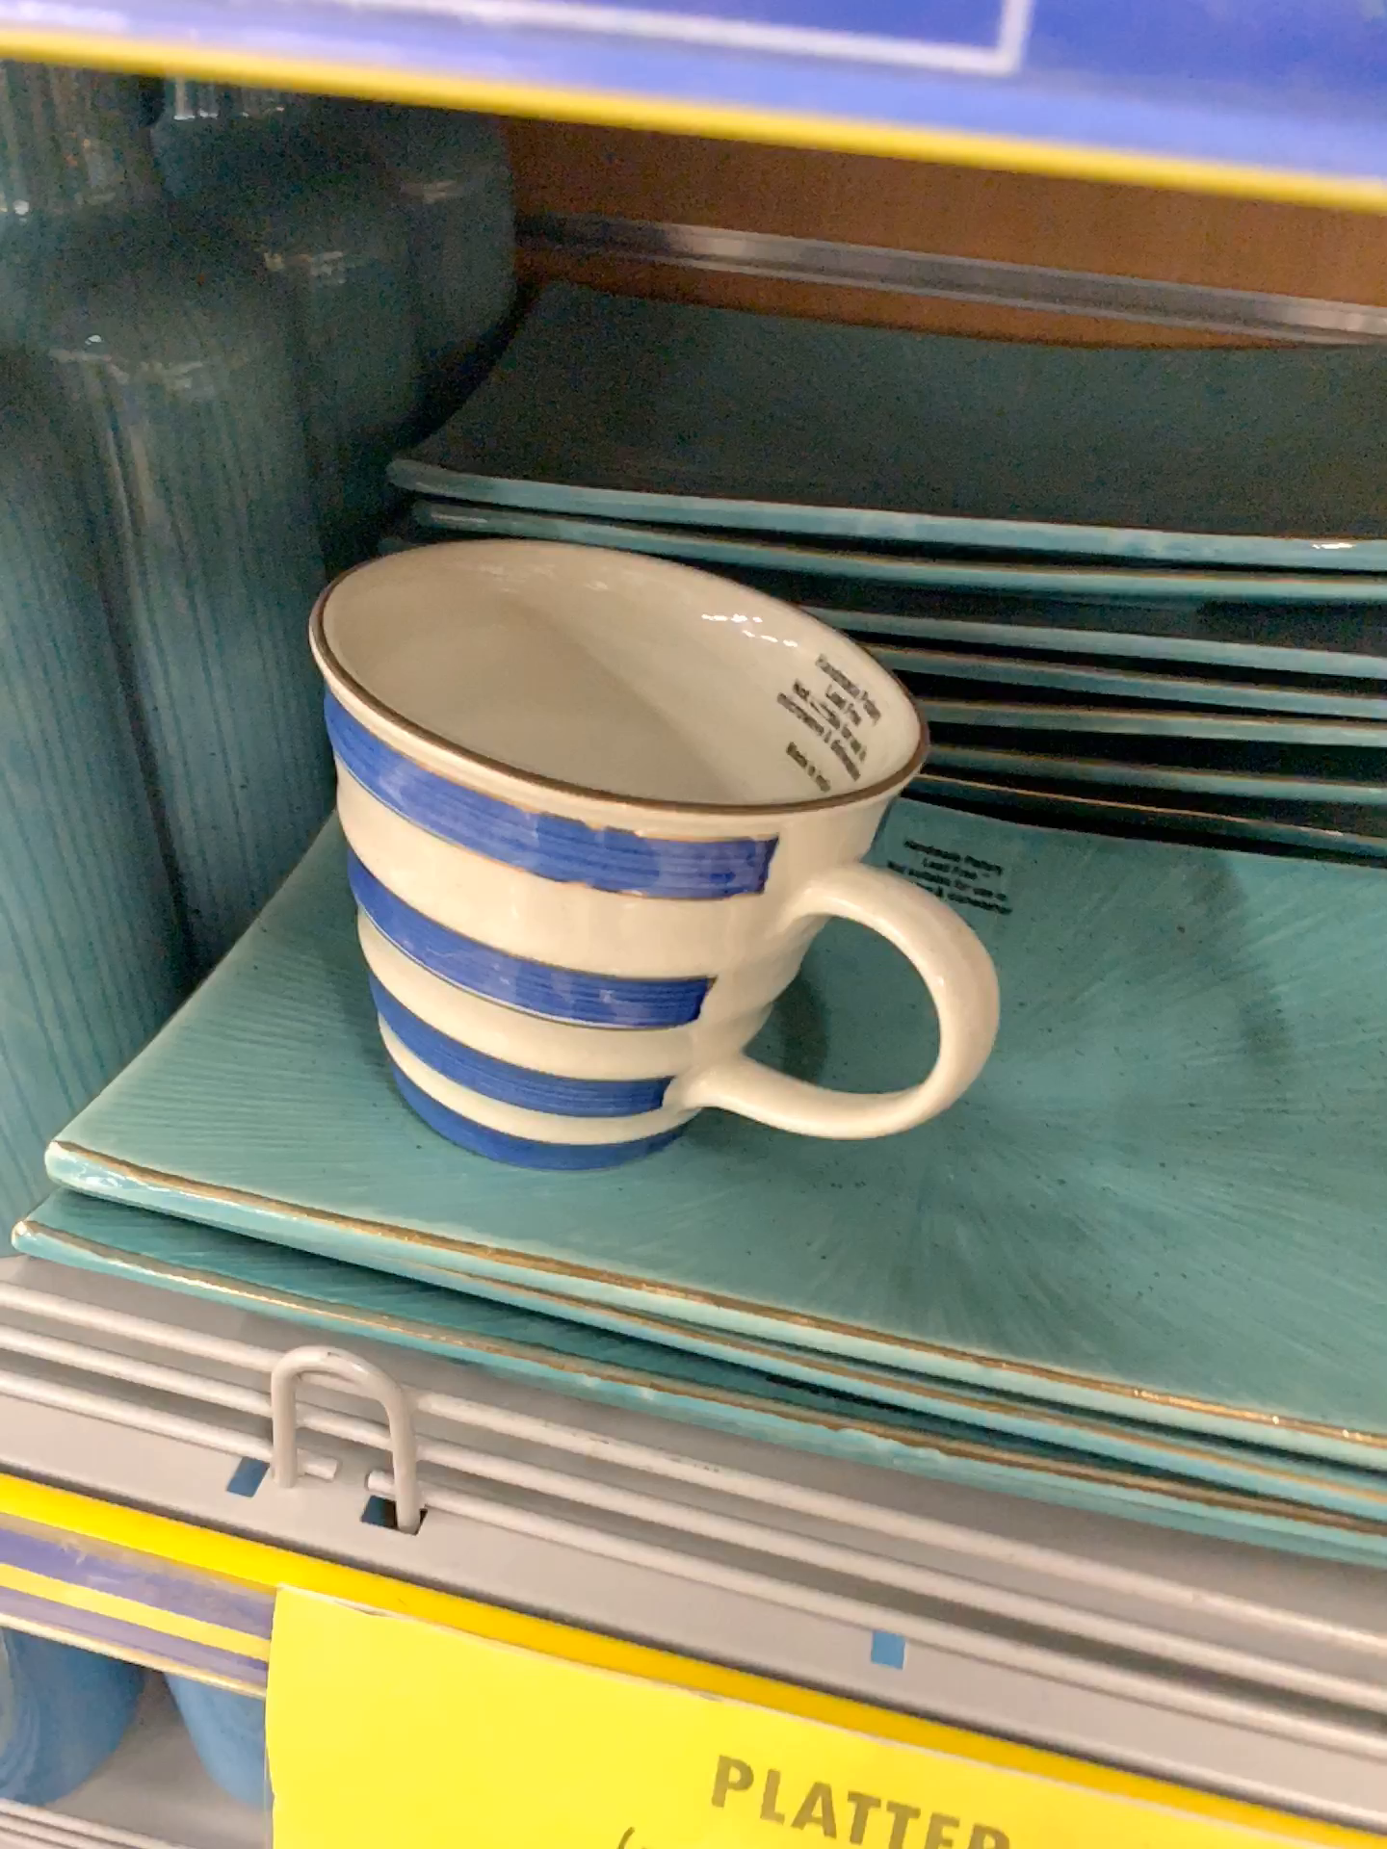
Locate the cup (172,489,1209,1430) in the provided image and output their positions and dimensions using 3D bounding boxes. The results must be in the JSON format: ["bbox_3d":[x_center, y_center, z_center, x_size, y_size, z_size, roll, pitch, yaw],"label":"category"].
[{"bbox_3d":[-0.002,-0.006,0.253,0.140,0.080,0.100,25,35,17],"label":"cup"}]
